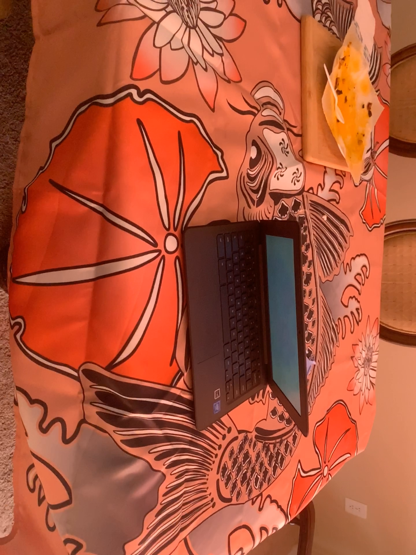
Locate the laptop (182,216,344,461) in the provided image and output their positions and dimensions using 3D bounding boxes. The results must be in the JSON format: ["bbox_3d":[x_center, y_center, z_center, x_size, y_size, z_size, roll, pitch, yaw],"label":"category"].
[{"bbox_3d":[0.095,0.066,0.644,0.212,0.144,0.299,-15,104,-52],"label":"laptop"}]
